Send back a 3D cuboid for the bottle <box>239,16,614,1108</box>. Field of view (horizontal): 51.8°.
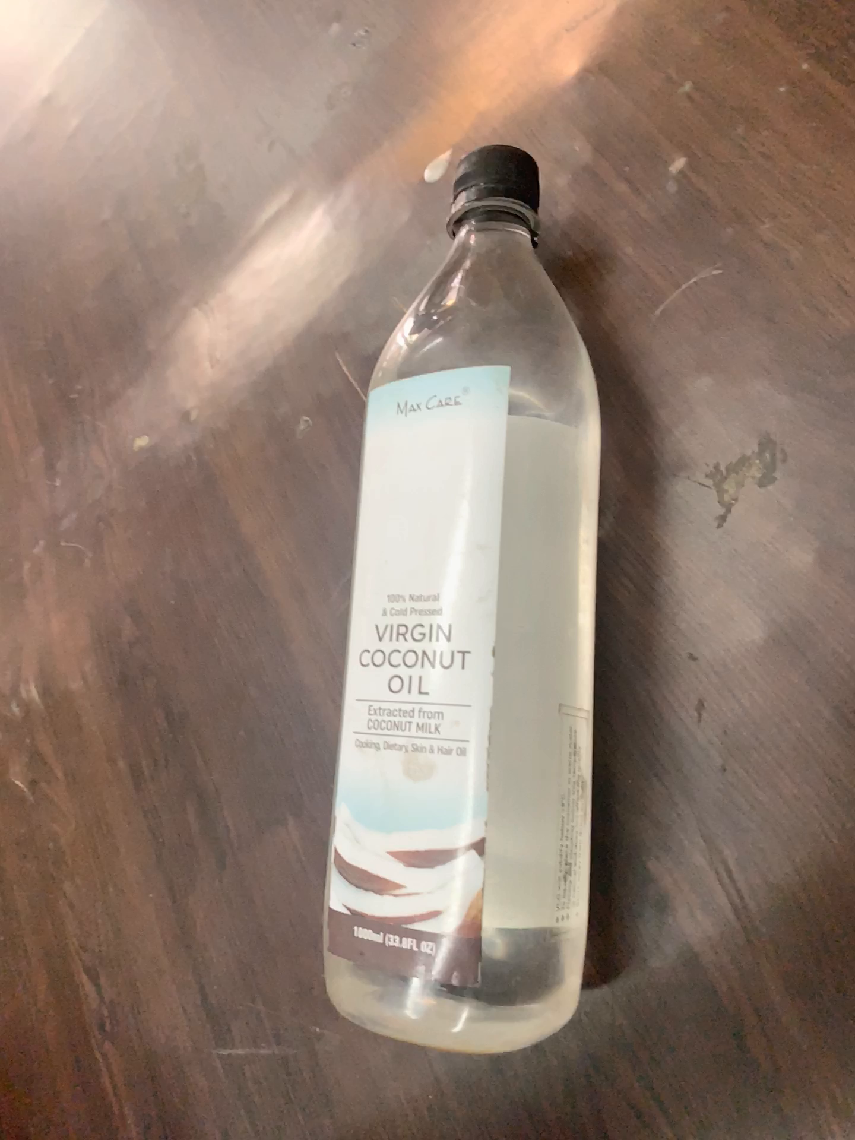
[{"bbox_3d":[0.006,-0.009,0.280,0.080,0.070,0.290,-3,79,32],"label":"bottle"}]
